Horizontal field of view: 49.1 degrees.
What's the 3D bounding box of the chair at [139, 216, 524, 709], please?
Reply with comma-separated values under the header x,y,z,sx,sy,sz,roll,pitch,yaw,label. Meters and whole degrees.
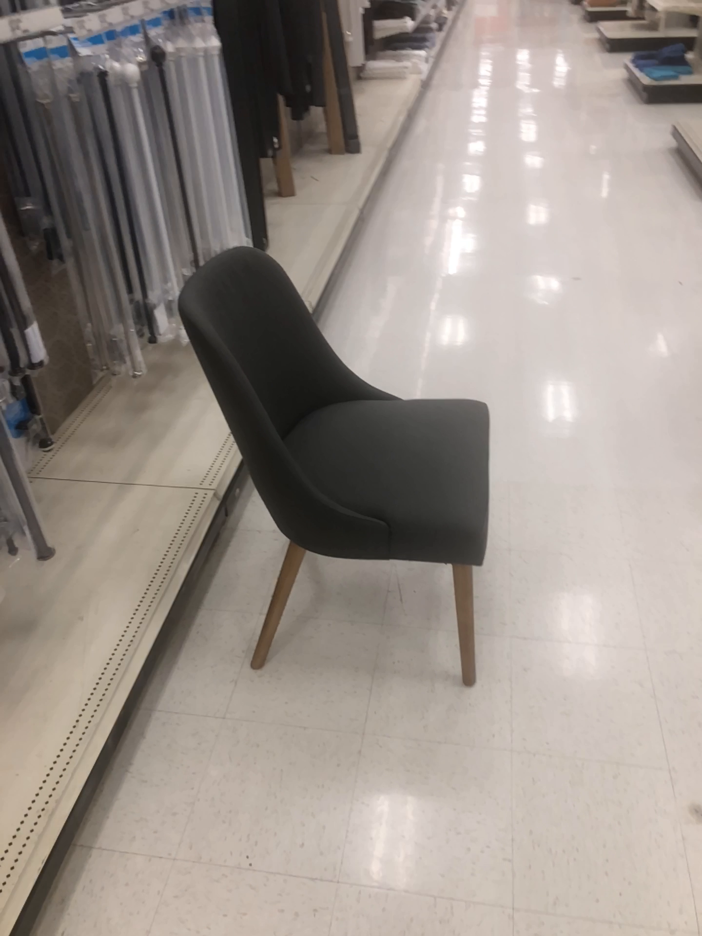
x,y,z,sx,sy,sz,roll,pitch,yaw,label
0.022,-0.011,1.603,0.586,0.859,0.516,3,36,9,chair
